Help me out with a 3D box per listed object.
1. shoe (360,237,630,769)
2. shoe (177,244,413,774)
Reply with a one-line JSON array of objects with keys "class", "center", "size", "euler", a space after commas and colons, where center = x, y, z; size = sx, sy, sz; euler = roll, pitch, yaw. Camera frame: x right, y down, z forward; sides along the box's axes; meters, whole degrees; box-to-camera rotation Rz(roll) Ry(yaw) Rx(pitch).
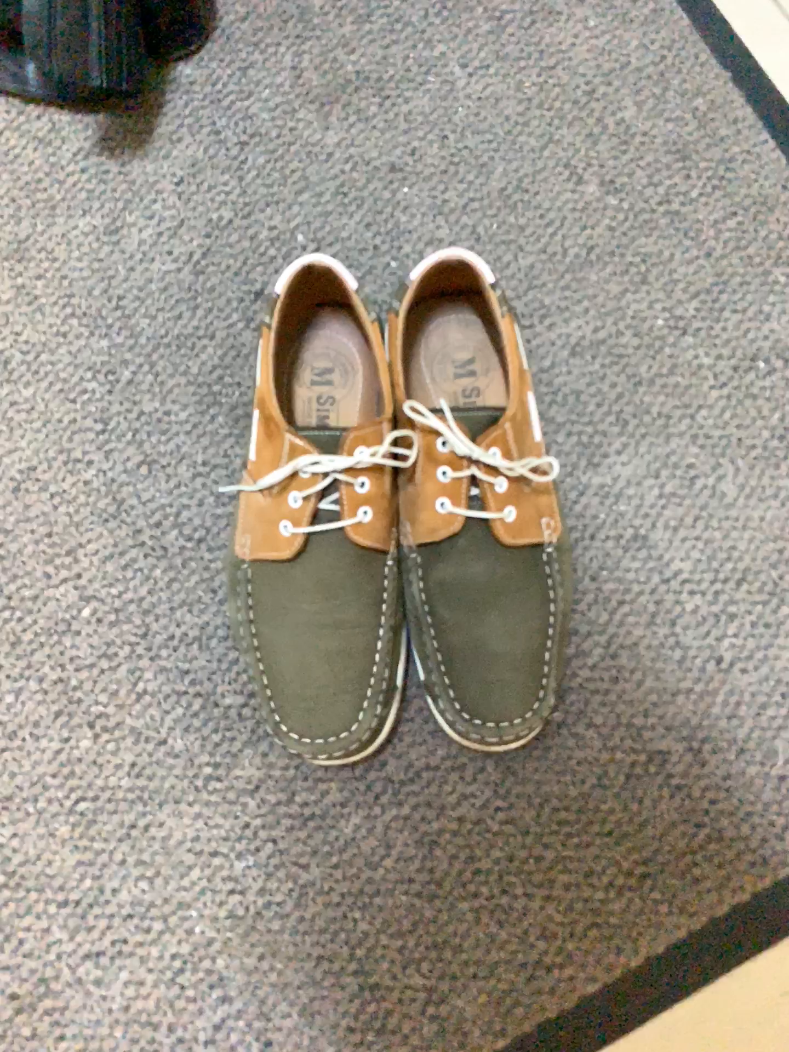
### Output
[{"class": "shoe", "center": [0.045, -0.007, 0.466], "size": [0.107, 0.130, 0.270], "euler": [-4, 76, -1]}, {"class": "shoe", "center": [-0.048, -0.004, 0.459], "size": [0.107, 0.130, 0.270], "euler": [-1, 76, -1]}]
